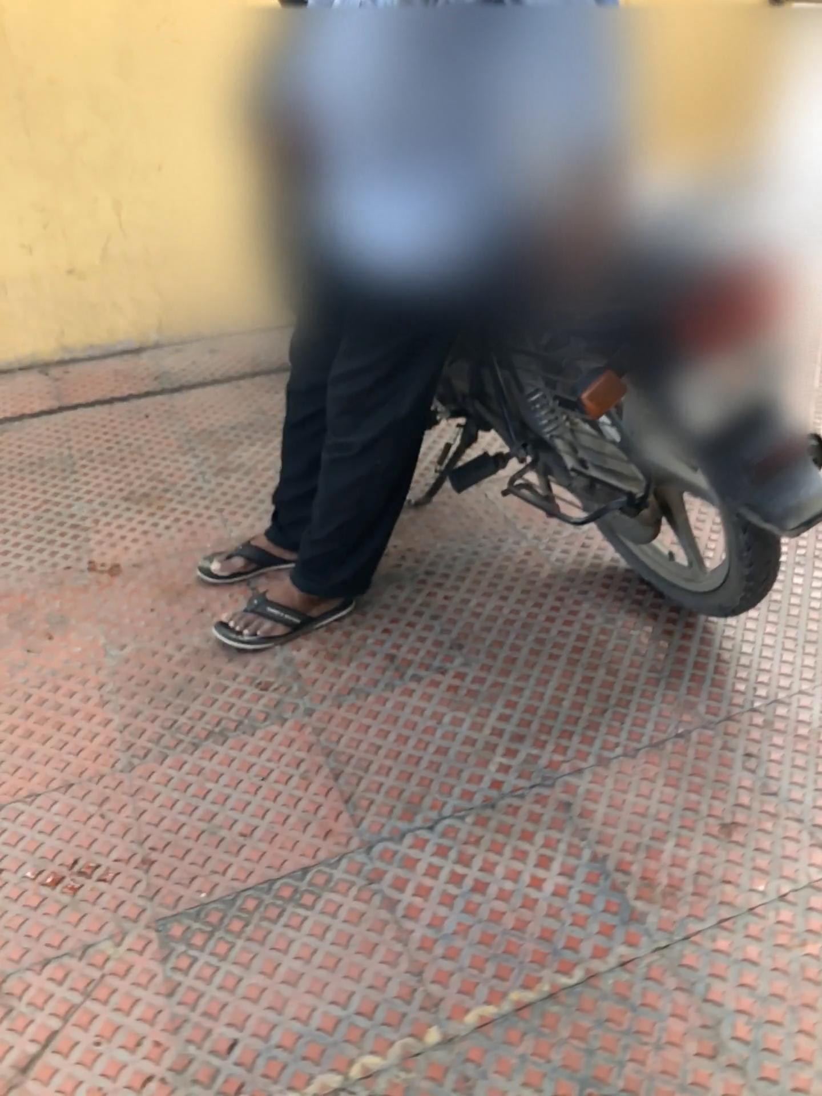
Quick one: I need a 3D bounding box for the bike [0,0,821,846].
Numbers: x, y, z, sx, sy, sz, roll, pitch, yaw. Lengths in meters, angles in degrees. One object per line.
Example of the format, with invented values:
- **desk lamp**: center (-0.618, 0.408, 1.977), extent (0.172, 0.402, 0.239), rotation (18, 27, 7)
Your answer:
- **bike**: center (-0.098, -0.557, 1.706), extent (0.924, 1.007, 1.678), rotation (-22, 40, -26)
